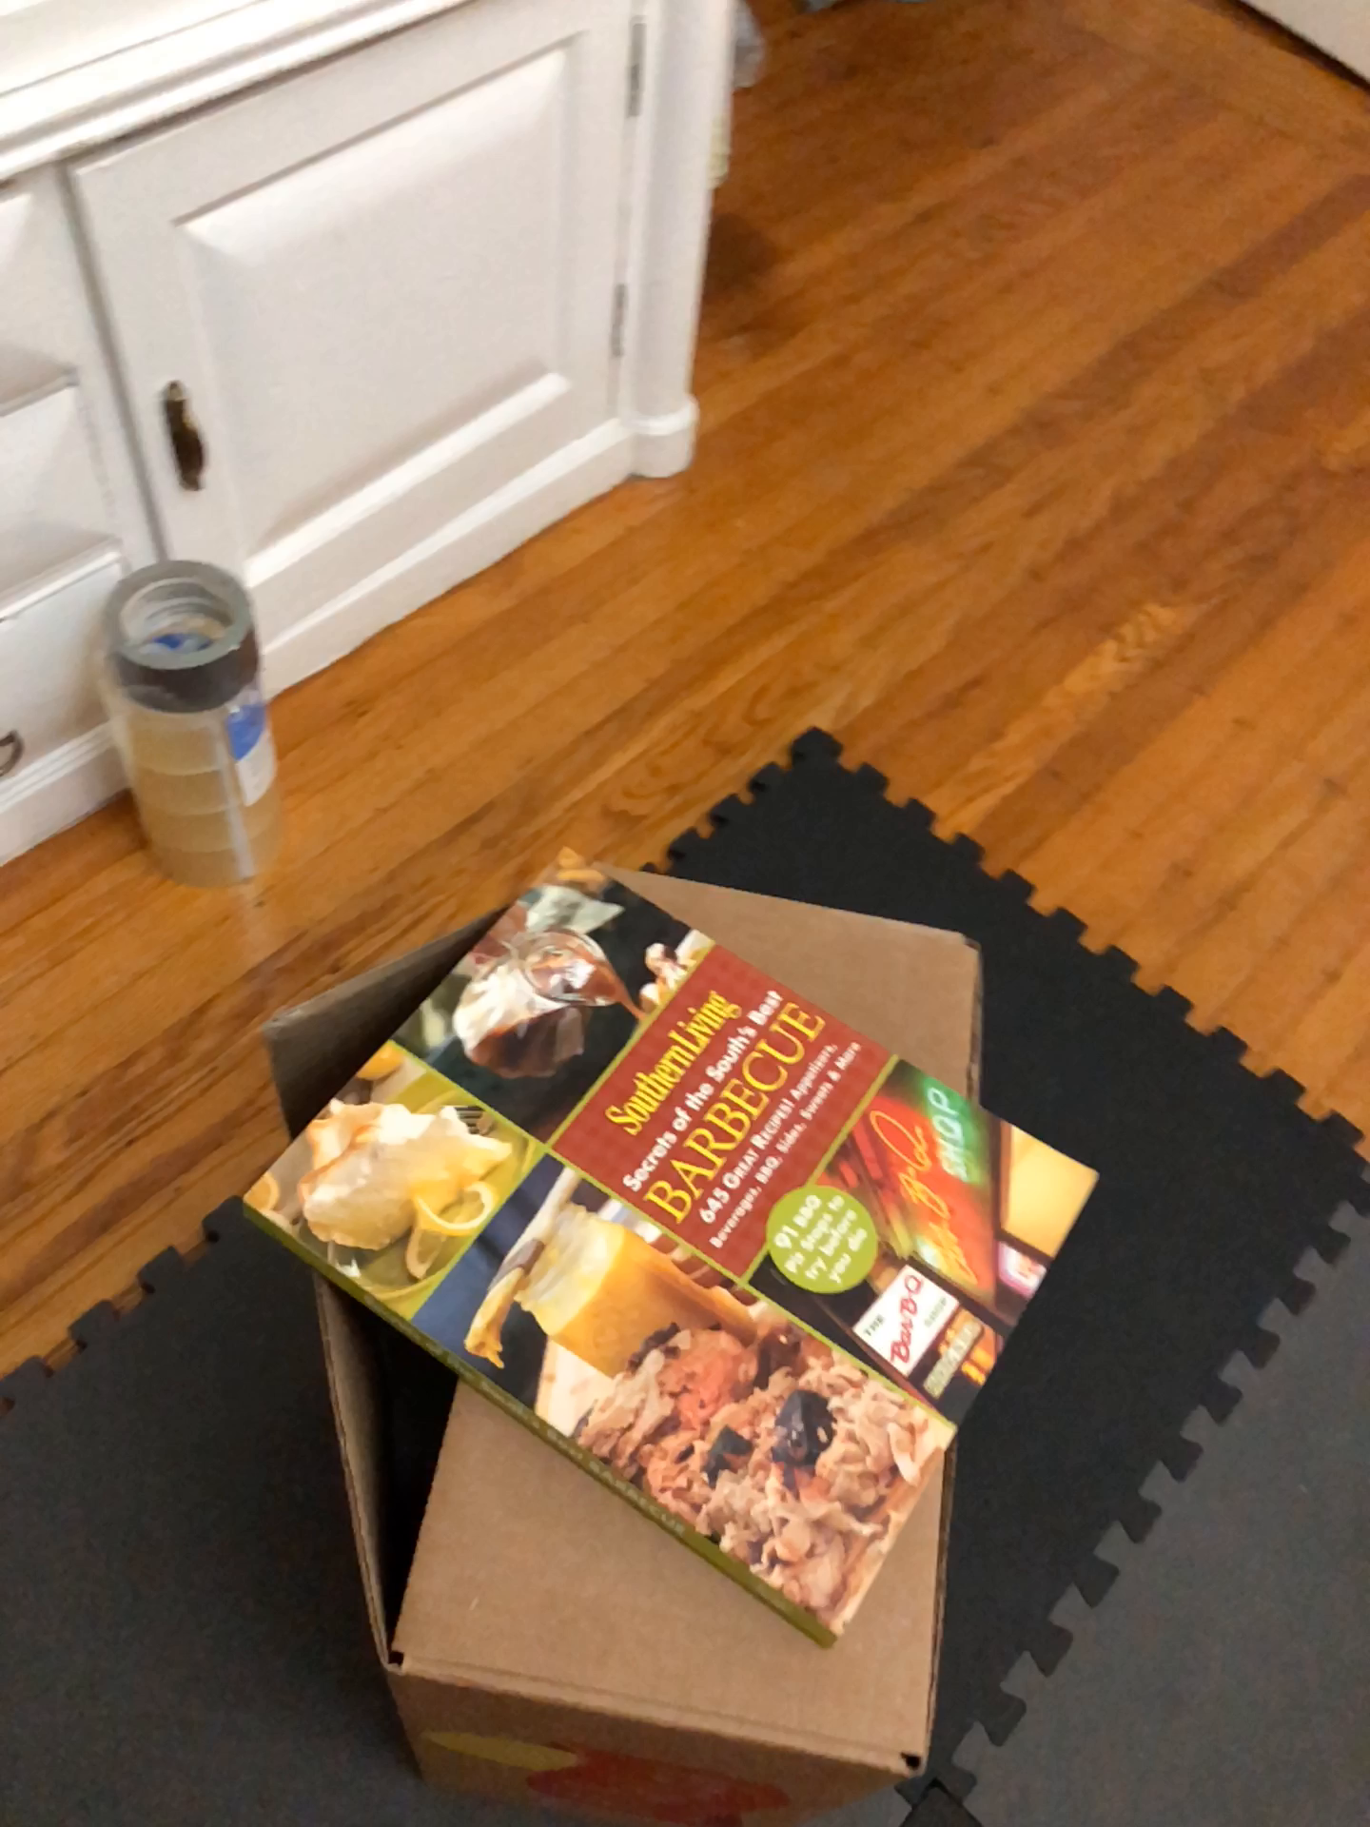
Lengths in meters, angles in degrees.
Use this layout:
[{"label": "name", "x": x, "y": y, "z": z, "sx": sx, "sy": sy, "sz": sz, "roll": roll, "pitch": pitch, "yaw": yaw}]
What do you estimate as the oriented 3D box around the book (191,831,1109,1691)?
[{"label": "book", "x": -0.009, "y": 0.116, "z": 0.603, "sx": 0.290, "sy": 0.020, "sz": 0.221, "roll": 32, "pitch": 59, "yaw": 14}]
